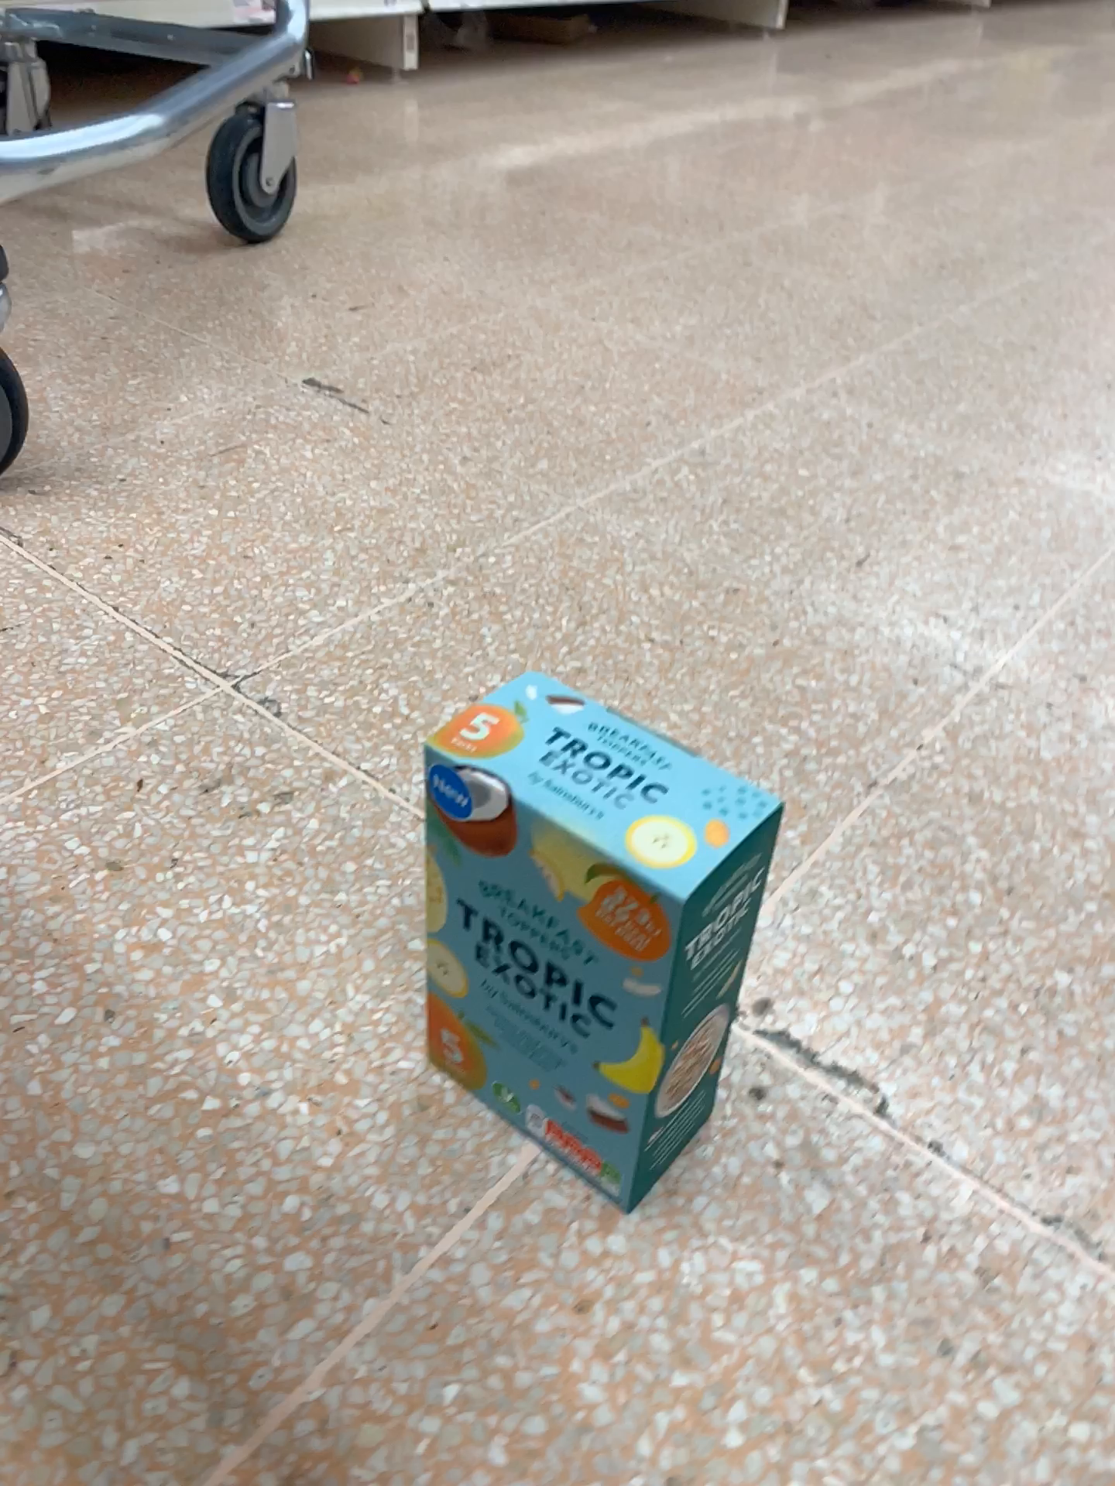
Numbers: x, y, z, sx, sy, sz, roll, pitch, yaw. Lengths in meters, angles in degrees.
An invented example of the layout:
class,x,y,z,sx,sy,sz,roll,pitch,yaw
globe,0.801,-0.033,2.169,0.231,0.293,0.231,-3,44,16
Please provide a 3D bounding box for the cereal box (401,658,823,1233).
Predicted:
class,x,y,z,sx,sy,sz,roll,pitch,yaw
cereal box,0.010,0.067,0.381,0.110,0.149,0.060,29,44,28
